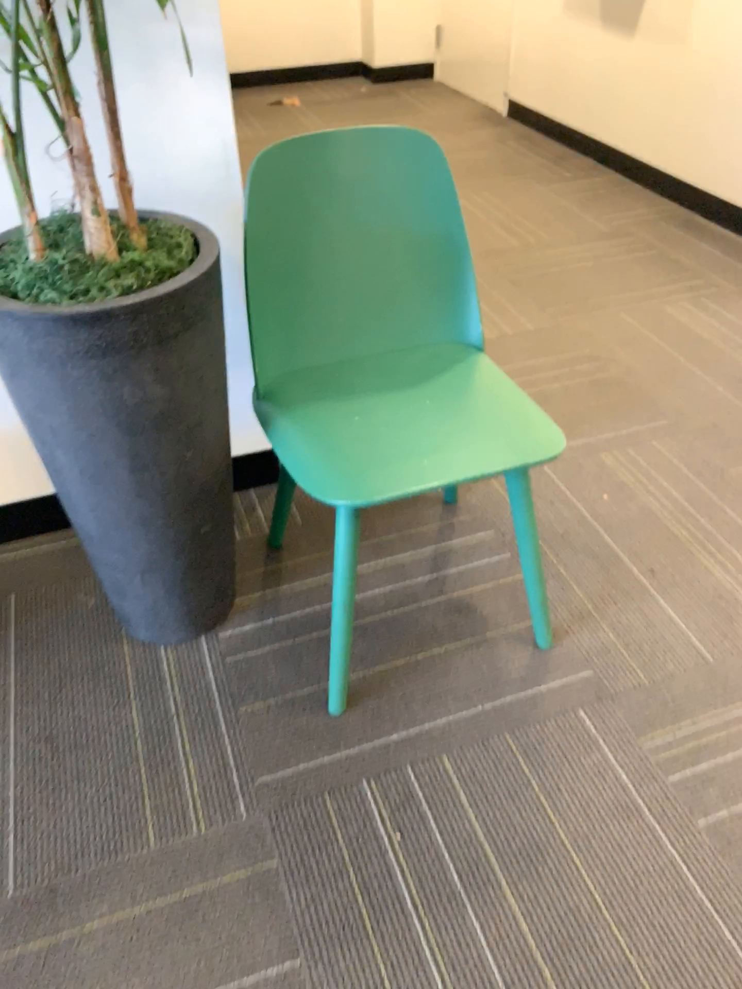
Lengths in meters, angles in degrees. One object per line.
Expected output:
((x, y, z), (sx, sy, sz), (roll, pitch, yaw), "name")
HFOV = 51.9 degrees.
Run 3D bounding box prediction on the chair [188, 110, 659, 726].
((0.008, -0.165, 1.205), (0.390, 0.626, 0.714), (-13, 41, -13), "chair")
